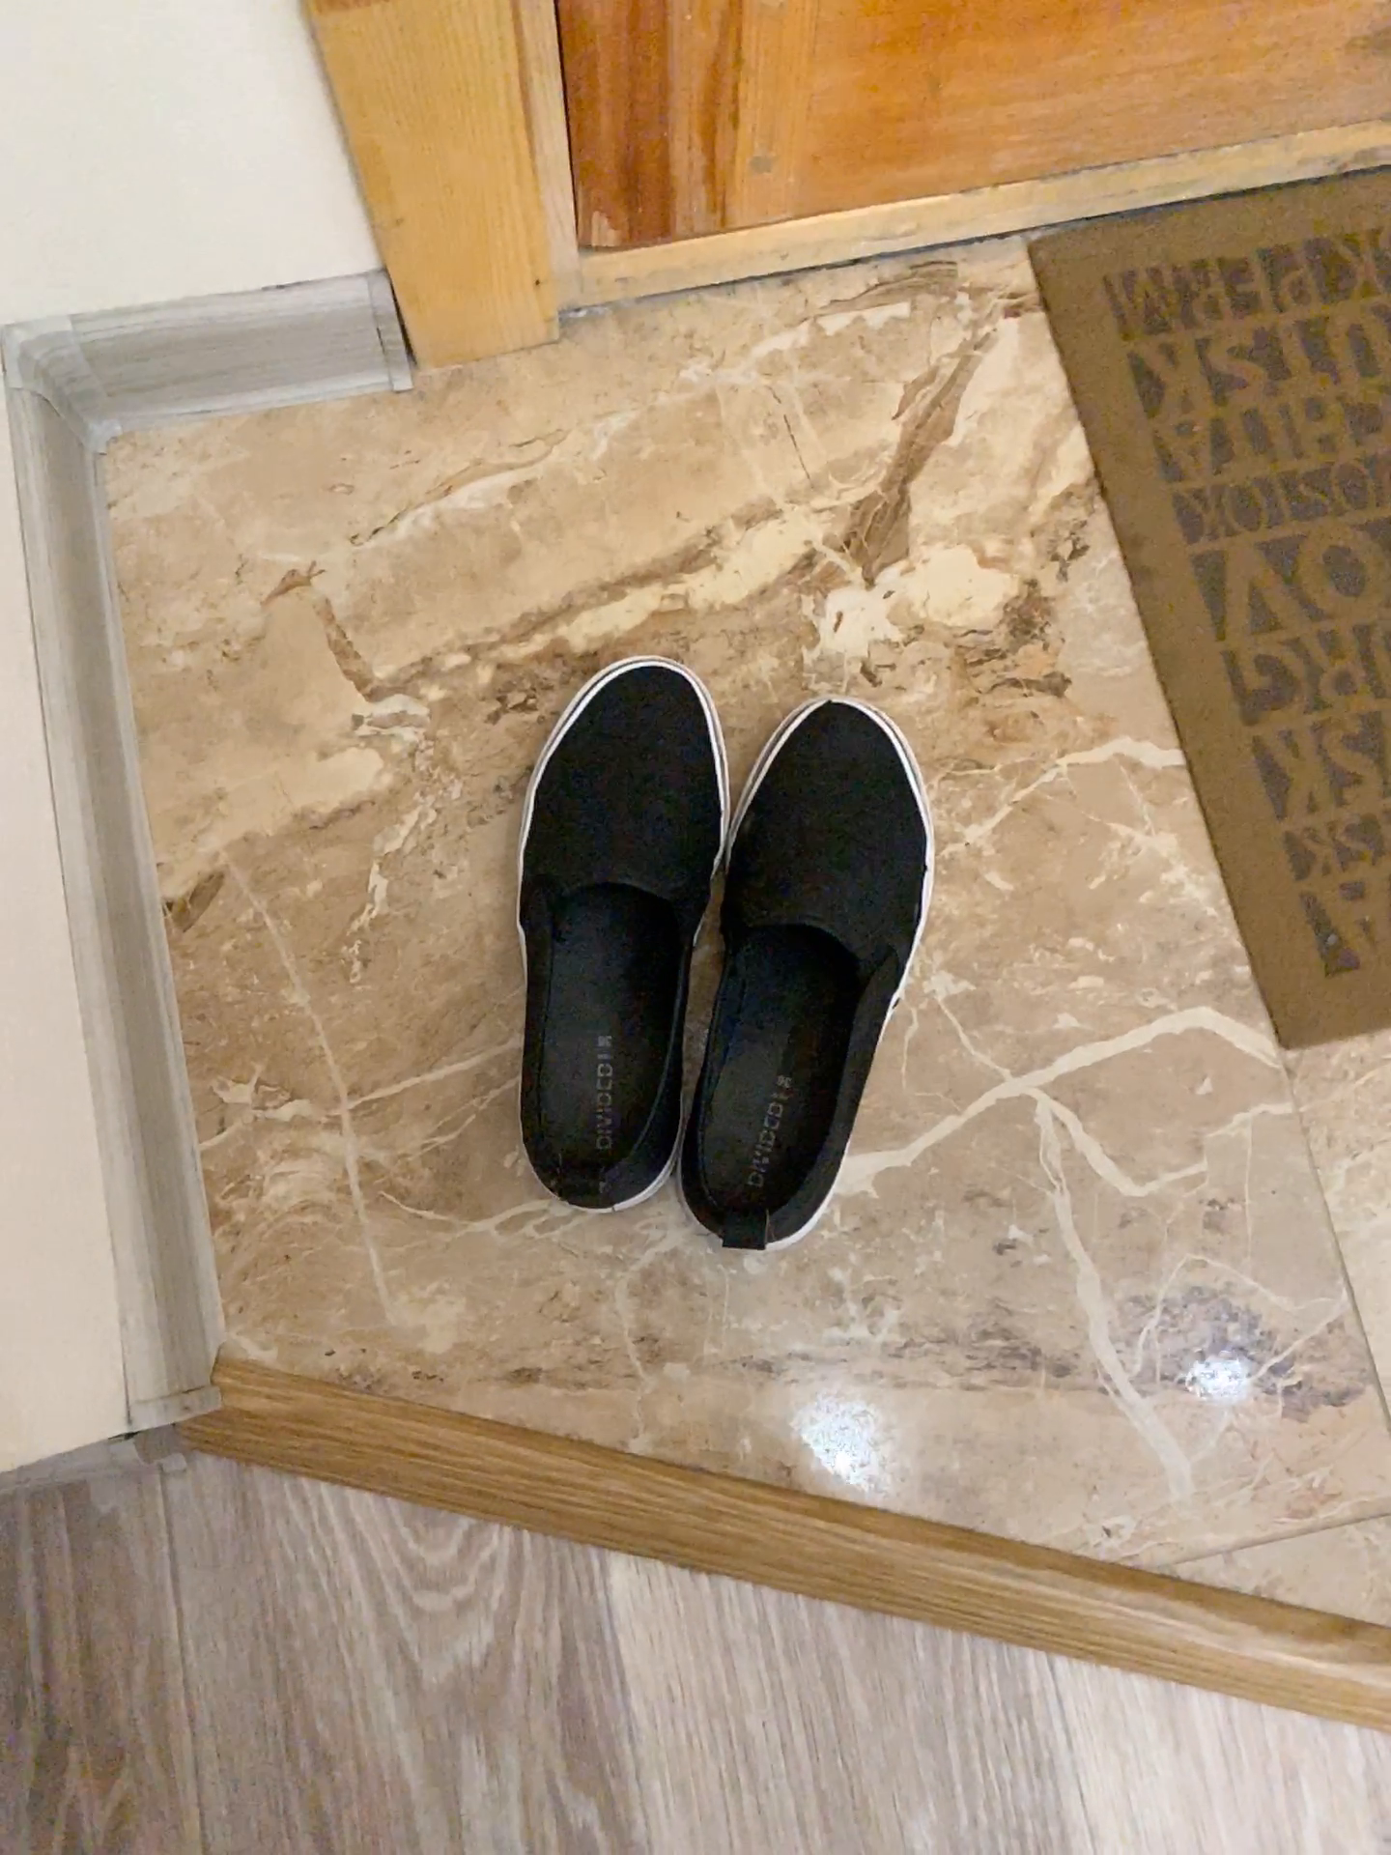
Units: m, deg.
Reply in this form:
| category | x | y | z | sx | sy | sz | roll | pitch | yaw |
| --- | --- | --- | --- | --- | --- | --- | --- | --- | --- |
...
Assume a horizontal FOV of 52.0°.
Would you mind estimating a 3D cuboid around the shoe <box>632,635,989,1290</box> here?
| category | x | y | z | sx | sy | sz | roll | pitch | yaw |
| --- | --- | --- | --- | --- | --- | --- | --- | --- | --- |
| shoe | 0.048 | 0.014 | 0.593 | 0.090 | 0.060 | 0.250 | 13 | 77 | 2 |

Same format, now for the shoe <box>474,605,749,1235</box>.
| category | x | y | z | sx | sy | sz | roll | pitch | yaw |
| --- | --- | --- | --- | --- | --- | --- | --- | --- | --- |
| shoe | -0.031 | -0.003 | 0.594 | 0.090 | 0.060 | 0.250 | 4 | 77 | 0 |
